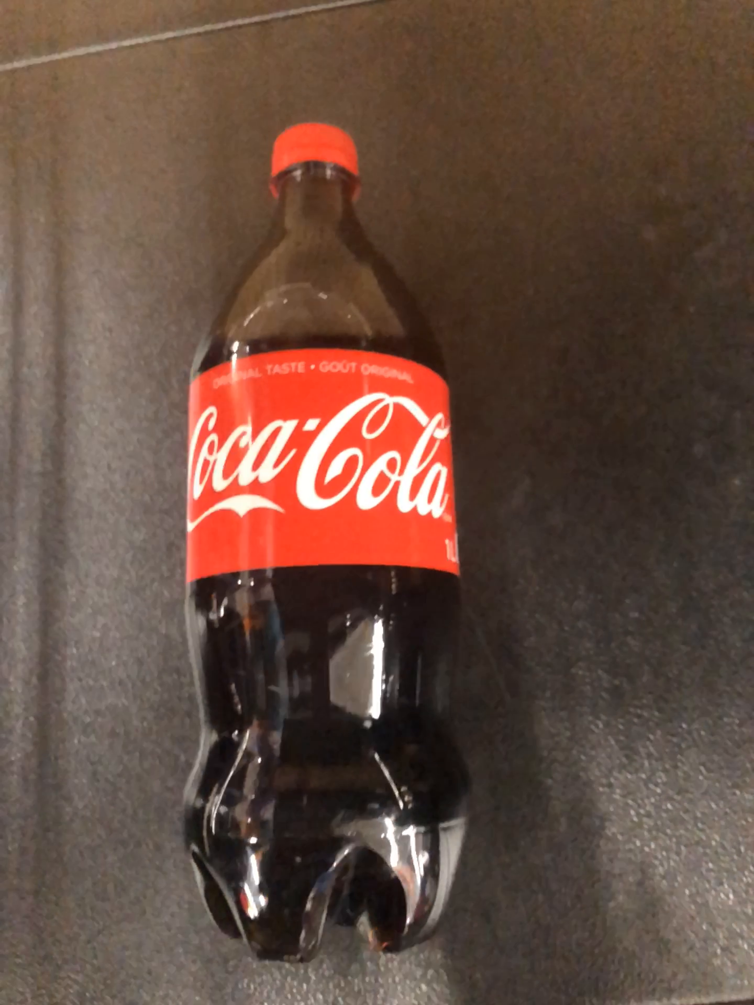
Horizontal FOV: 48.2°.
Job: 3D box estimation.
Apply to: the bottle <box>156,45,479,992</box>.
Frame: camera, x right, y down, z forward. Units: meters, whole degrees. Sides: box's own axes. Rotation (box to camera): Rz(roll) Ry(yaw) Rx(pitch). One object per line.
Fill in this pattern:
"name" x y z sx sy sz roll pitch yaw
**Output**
"bottle" -0.017 0.000 0.272 0.080 0.080 0.260 -4 78 6
